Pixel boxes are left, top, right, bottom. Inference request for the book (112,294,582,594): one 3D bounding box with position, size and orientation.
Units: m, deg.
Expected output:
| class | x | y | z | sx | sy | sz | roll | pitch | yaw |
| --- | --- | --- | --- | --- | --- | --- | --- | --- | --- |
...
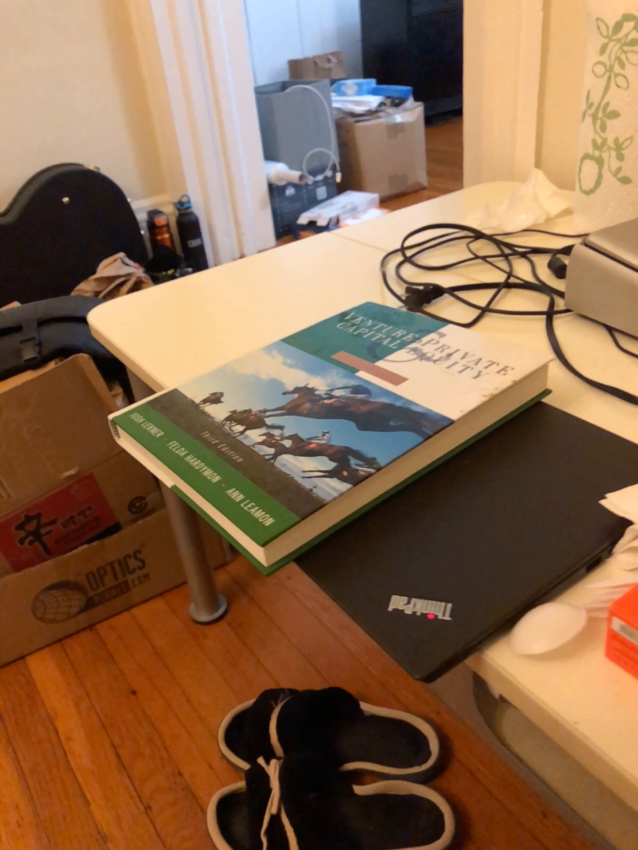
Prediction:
| class | x | y | z | sx | sy | sz | roll | pitch | yaw |
| --- | --- | --- | --- | --- | --- | --- | --- | --- | --- |
| book | 0.018 | -0.014 | 0.528 | 0.271 | 0.030 | 0.221 | -28 | 38 | -28 |
